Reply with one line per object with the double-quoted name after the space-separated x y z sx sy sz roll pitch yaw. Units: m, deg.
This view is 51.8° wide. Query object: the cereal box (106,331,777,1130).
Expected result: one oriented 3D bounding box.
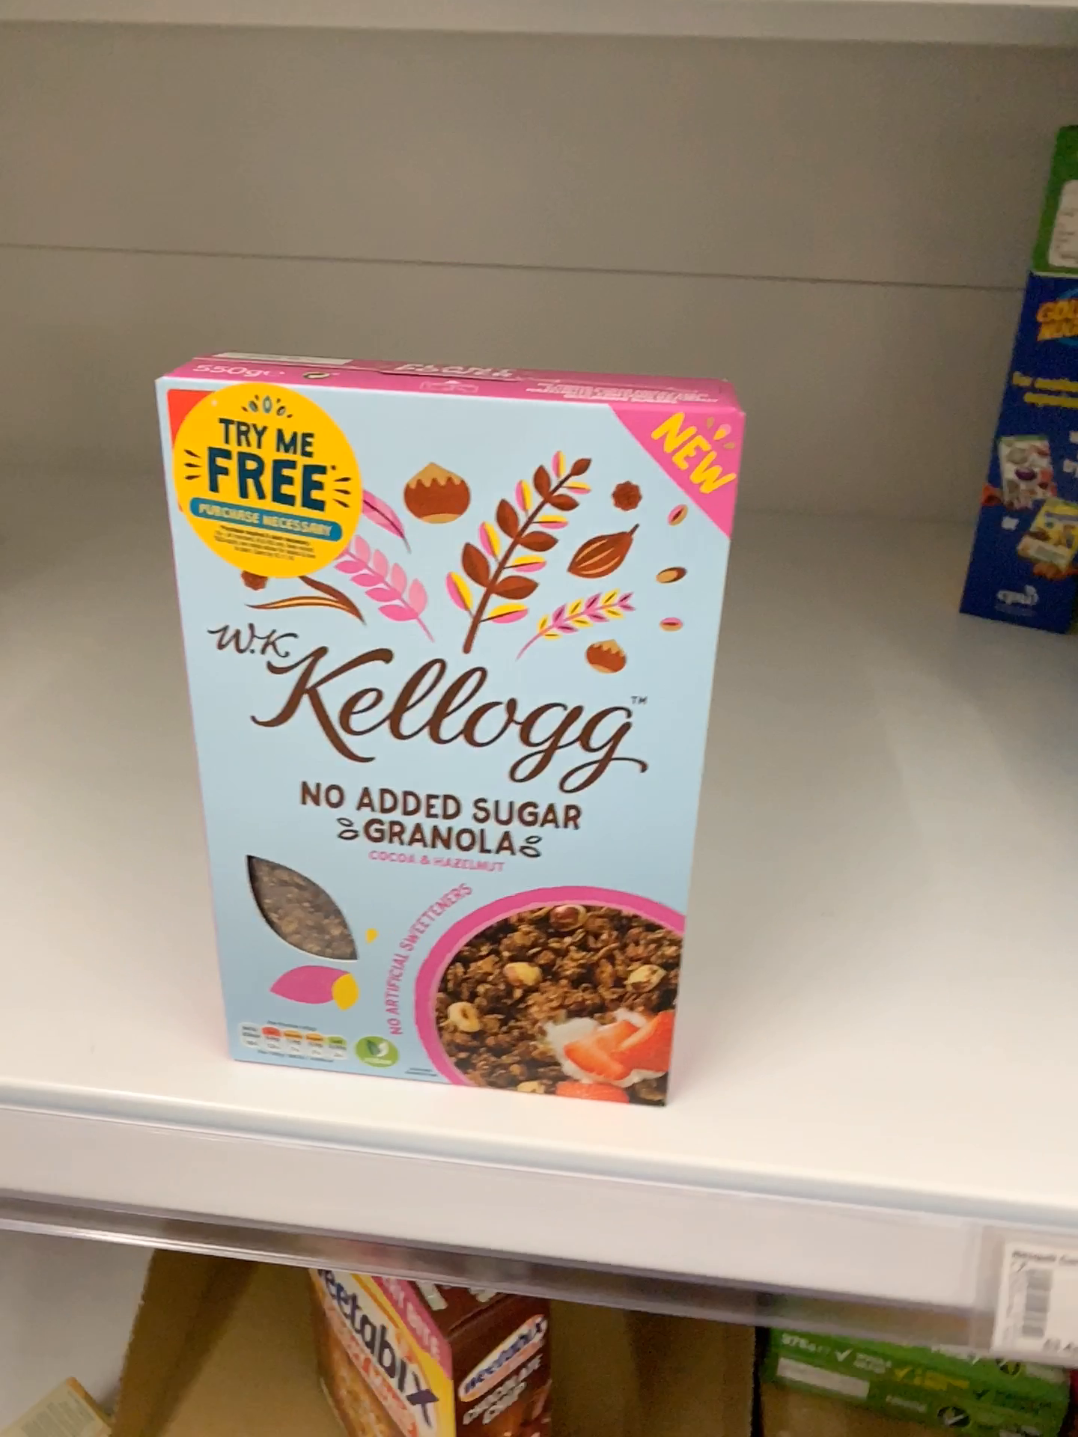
-0.027 0.014 0.357 0.170 0.248 0.050 5 28 5 "cereal box"
